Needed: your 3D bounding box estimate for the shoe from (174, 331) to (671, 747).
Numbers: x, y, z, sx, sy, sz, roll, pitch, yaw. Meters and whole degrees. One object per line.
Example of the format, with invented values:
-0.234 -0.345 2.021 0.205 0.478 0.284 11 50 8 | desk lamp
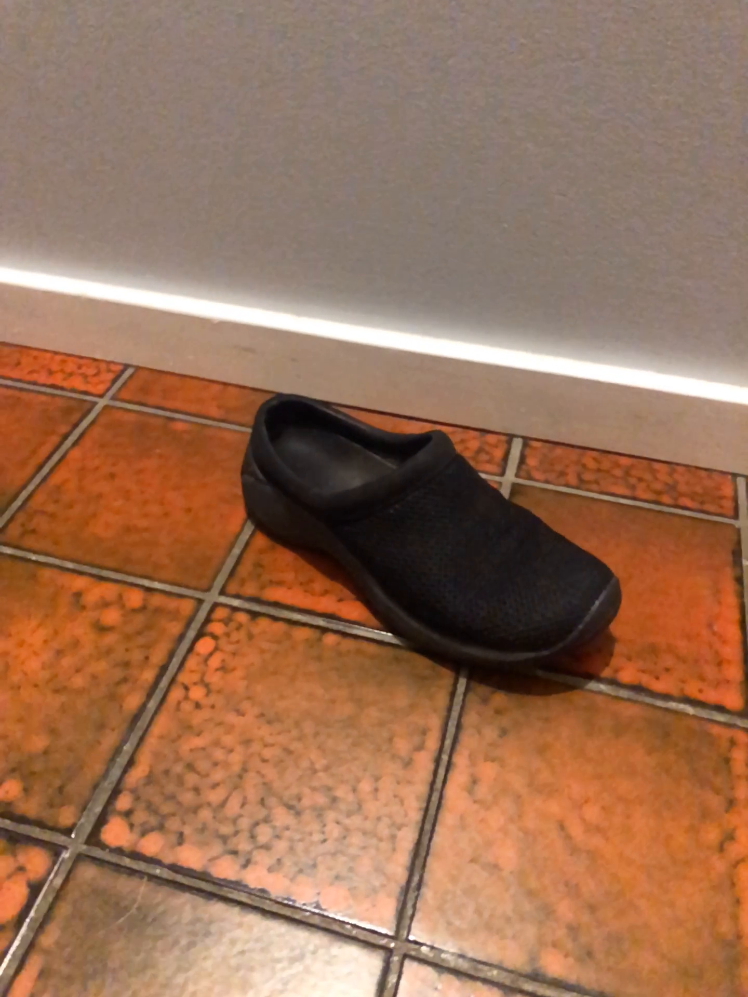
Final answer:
0.015 0.008 0.459 0.250 0.080 0.100 31 51 28 | shoe
